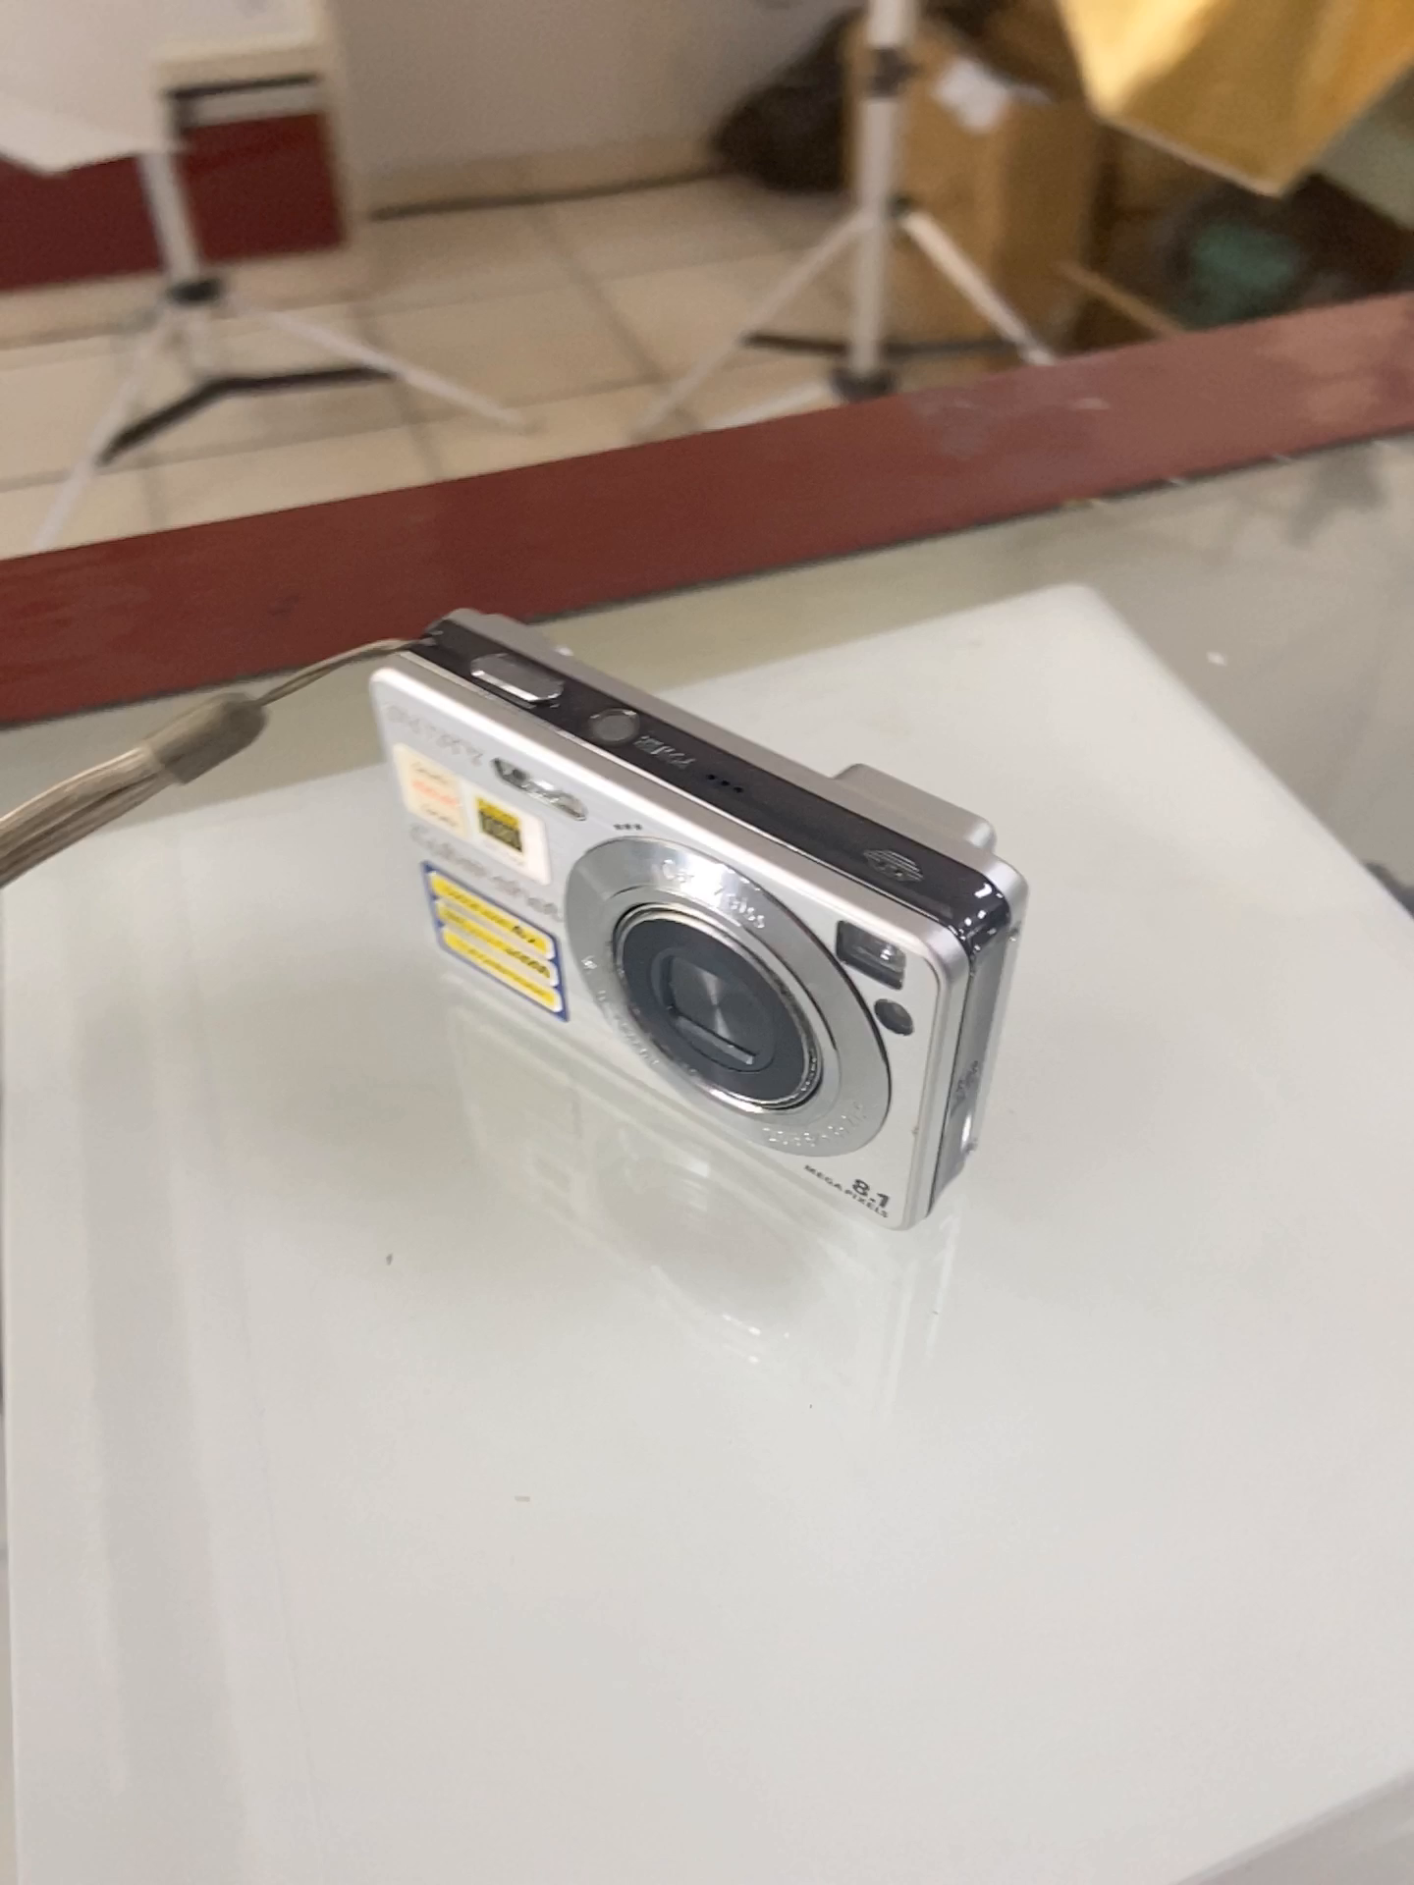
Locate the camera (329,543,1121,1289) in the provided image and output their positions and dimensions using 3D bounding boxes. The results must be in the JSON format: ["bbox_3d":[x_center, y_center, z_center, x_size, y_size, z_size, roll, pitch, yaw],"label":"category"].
[{"bbox_3d":[0.000,-0.005,0.192,0.090,0.060,0.030,27,52,24],"label":"camera"}]
